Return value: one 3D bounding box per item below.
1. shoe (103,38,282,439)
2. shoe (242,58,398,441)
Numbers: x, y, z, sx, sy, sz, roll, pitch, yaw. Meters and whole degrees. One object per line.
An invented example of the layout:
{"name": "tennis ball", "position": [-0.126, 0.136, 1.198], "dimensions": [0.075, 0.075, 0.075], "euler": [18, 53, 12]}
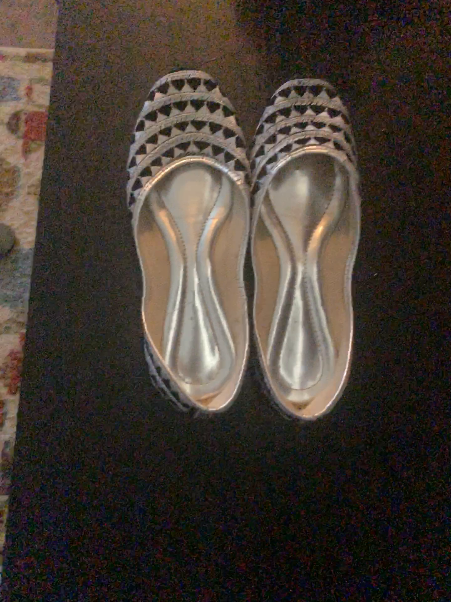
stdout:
{"name": "shoe", "position": [-0.026, -0.044, 0.344], "dimensions": [0.100, 0.080, 0.260], "euler": [-4, 86, -5]}
{"name": "shoe", "position": [0.070, -0.036, 0.369], "dimensions": [0.100, 0.080, 0.270], "euler": [1, 86, -5]}
